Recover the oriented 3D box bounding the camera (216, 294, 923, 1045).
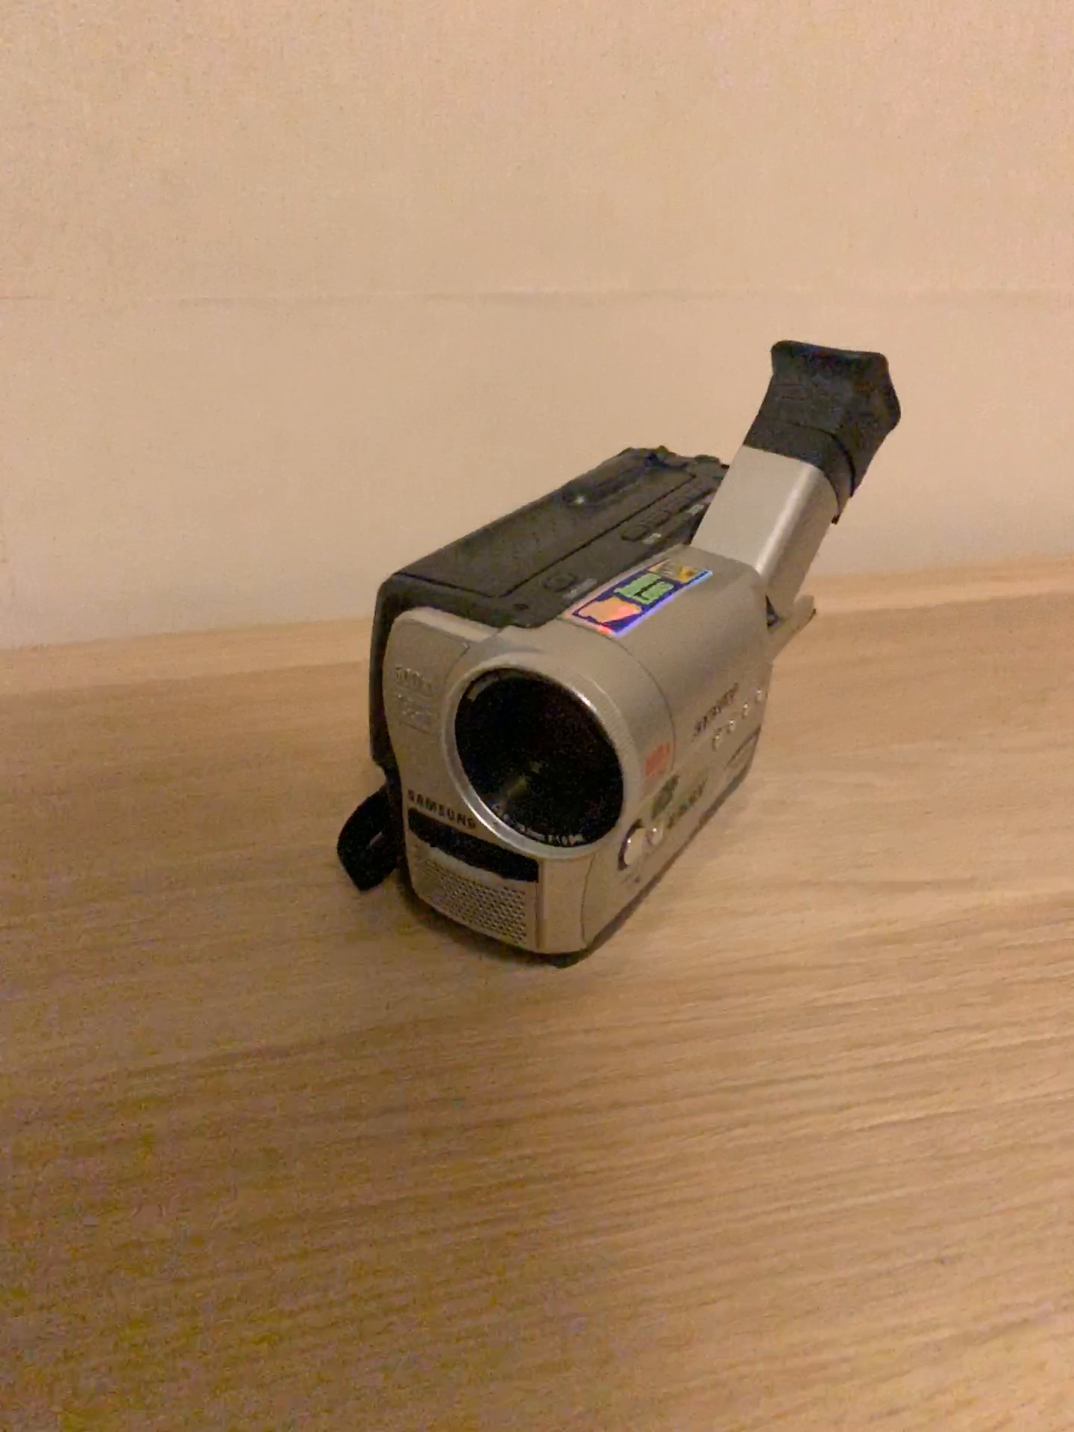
[{"bbox_3d":[0.022,-0.036,0.320,0.106,0.133,0.193,17,31,25],"label":"camera"}]
